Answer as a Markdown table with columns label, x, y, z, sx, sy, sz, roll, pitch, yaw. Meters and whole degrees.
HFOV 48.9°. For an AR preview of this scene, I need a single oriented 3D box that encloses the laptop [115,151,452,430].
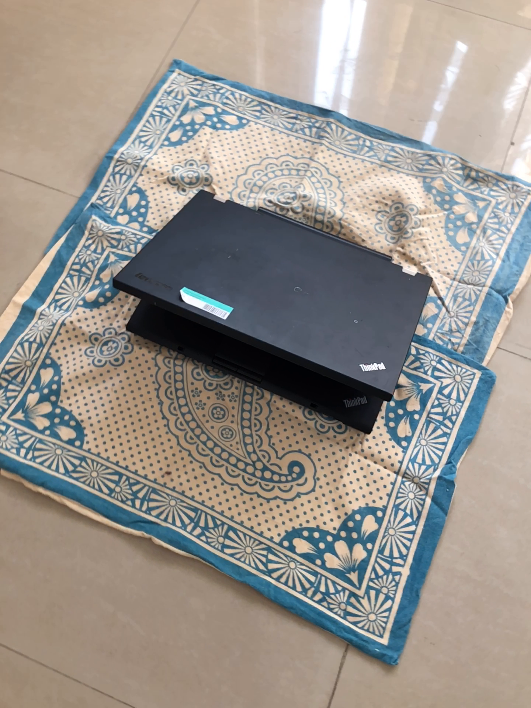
| label | x | y | z | sx | sy | sz | roll | pitch | yaw |
| --- | --- | --- | --- | --- | --- | --- | --- | --- | --- |
| laptop | 0.022 | -0.090 | 0.775 | 0.347 | 0.125 | 0.241 | 23 | 70 | 13 |
